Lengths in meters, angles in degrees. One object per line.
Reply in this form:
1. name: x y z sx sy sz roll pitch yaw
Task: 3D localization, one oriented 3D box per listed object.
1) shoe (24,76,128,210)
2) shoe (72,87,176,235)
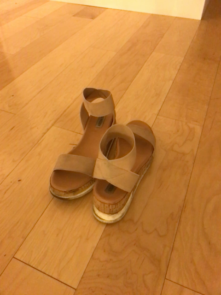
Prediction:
1. shoe: -0.049 -0.026 0.506 0.100 0.109 0.272 13 47 13
2. shoe: 0.041 0.008 0.469 0.090 0.109 0.272 17 49 17
